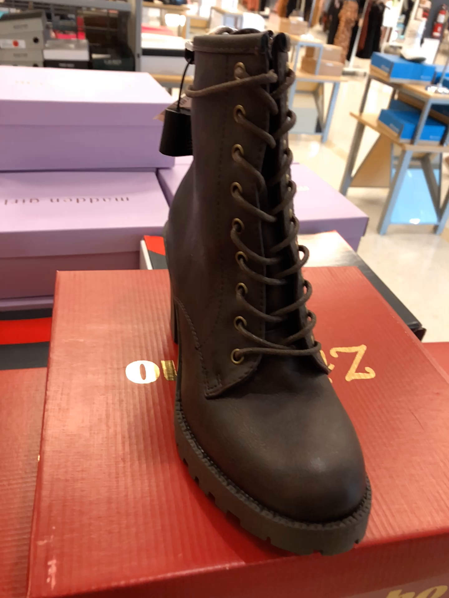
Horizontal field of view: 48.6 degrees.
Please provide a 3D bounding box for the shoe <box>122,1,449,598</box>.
[{"bbox_3d":[0.014,-0.023,0.278,0.100,0.218,0.242,-5,36,-20],"label":"shoe"}]
